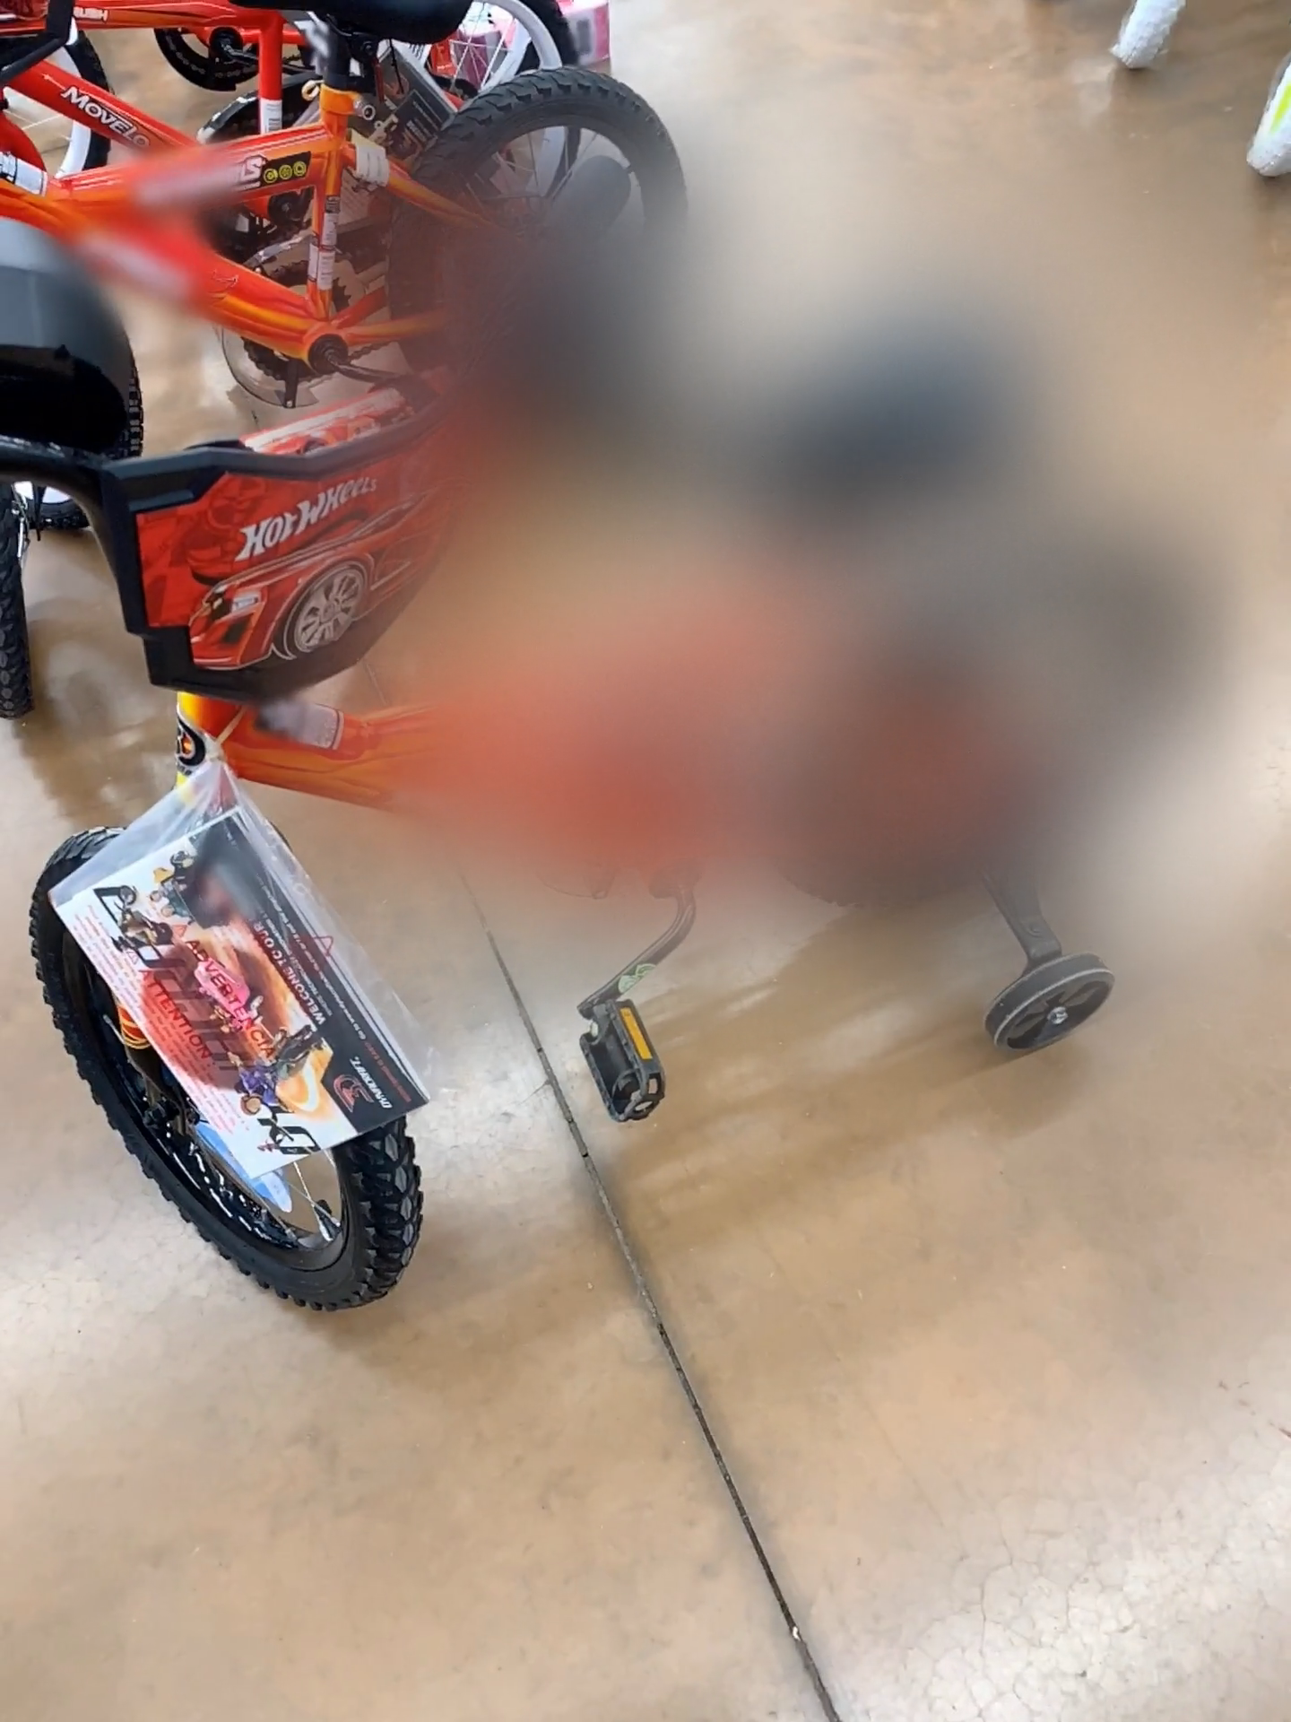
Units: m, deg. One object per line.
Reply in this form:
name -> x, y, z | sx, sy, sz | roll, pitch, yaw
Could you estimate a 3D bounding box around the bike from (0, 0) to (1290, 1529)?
bike -> 0.063, -0.087, 0.946 | 0.740, 0.824, 0.511 | -33, 58, -12
